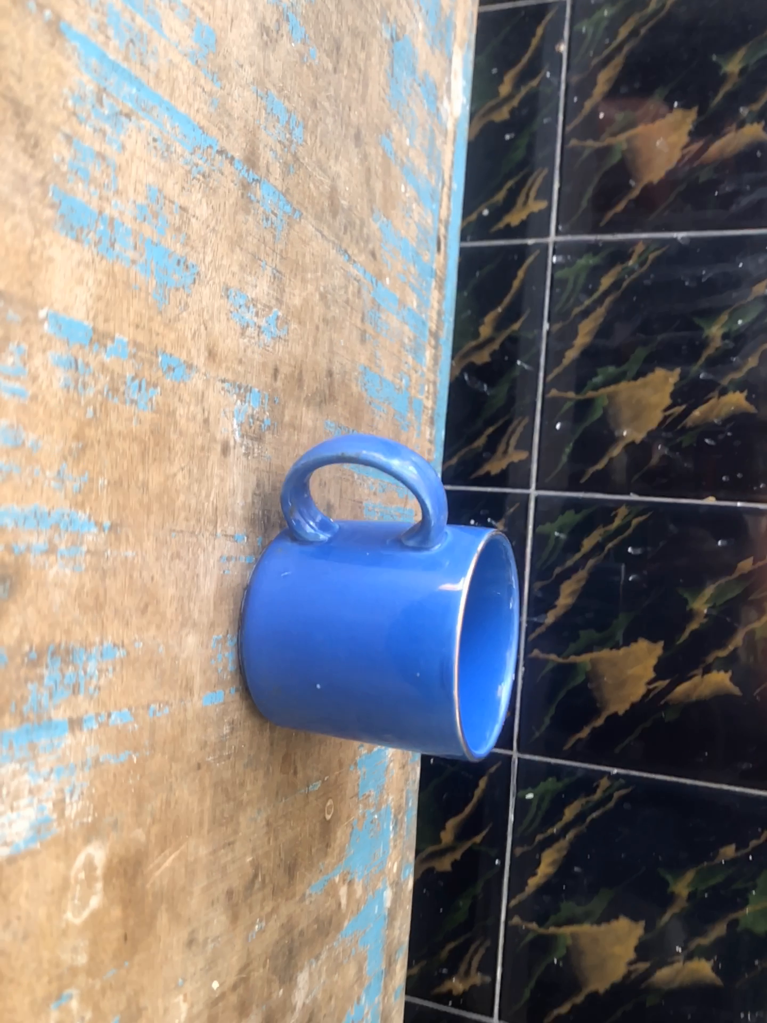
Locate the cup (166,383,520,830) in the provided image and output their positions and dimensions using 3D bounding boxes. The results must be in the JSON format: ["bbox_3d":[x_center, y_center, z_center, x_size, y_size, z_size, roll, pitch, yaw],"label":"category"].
[{"bbox_3d":[-0.004,0.026,0.261,0.070,0.070,0.110,-56,143,-53],"label":"cup"}]
